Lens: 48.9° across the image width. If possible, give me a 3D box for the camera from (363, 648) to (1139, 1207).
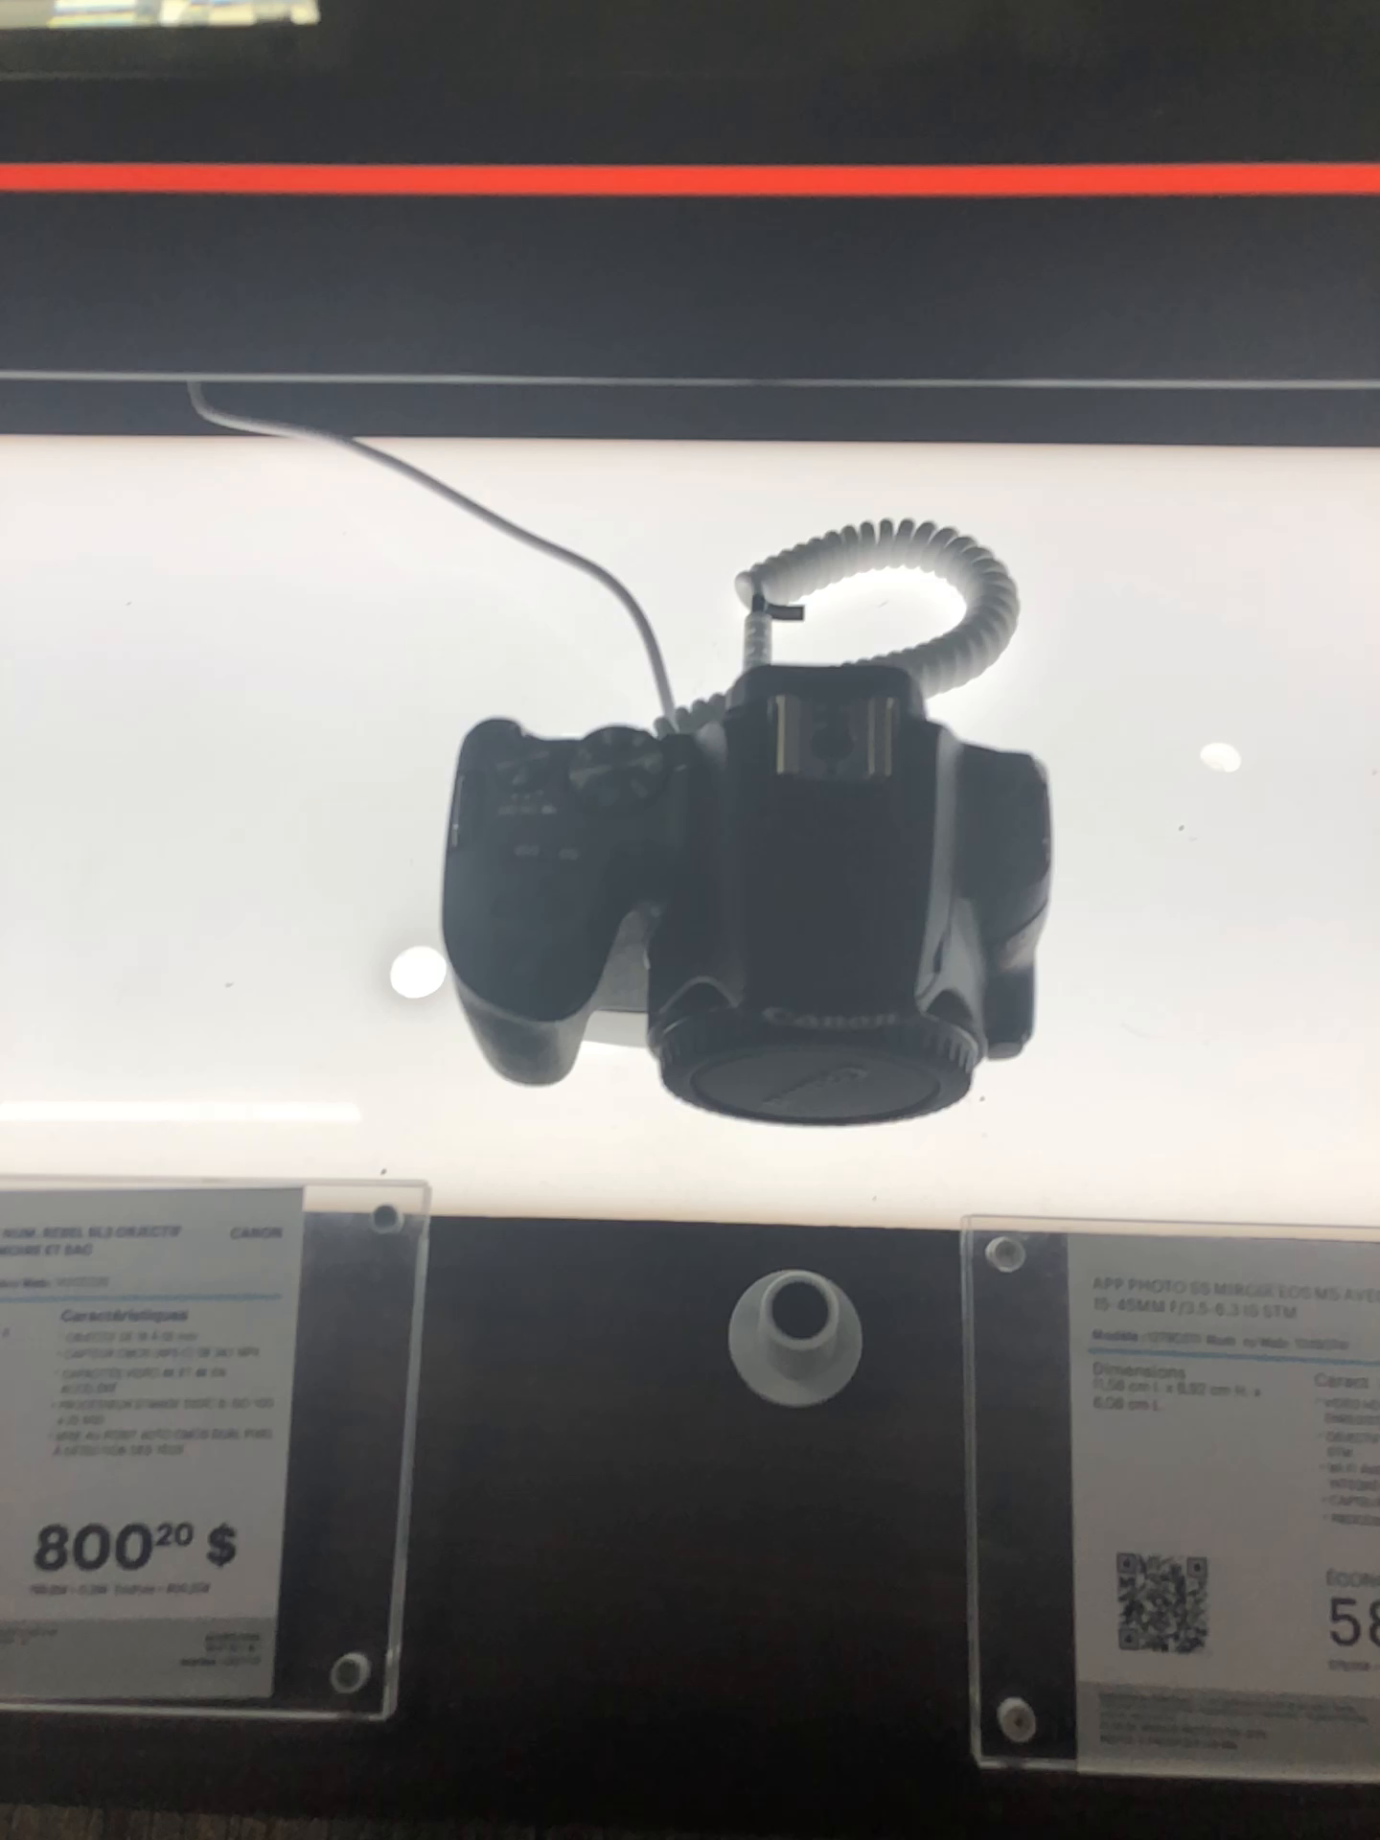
[{"bbox_3d":[0.011,0.003,0.292,0.123,0.071,0.080,1,61,2],"label":"camera"}]
